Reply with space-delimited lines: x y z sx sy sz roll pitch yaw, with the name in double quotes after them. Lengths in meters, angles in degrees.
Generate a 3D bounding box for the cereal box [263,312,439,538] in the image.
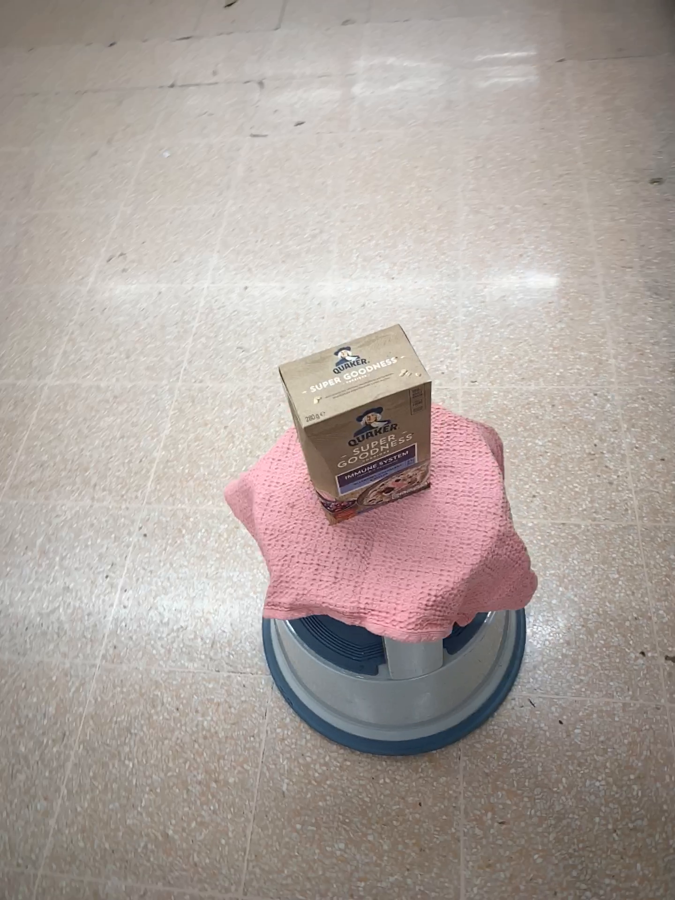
0.022 -0.018 0.734 0.140 0.208 0.101 -20 57 -5 "cereal box"
